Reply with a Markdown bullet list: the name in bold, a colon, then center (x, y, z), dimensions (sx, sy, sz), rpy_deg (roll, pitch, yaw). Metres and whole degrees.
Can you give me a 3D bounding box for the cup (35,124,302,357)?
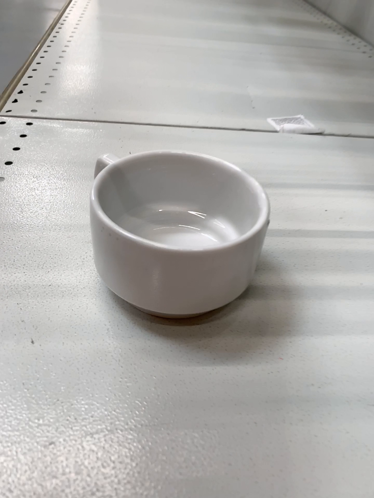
- **cup**: center (-0.014, -0.016, 0.219), dimensions (0.091, 0.051, 0.111), rpy_deg (-27, 52, -33)
